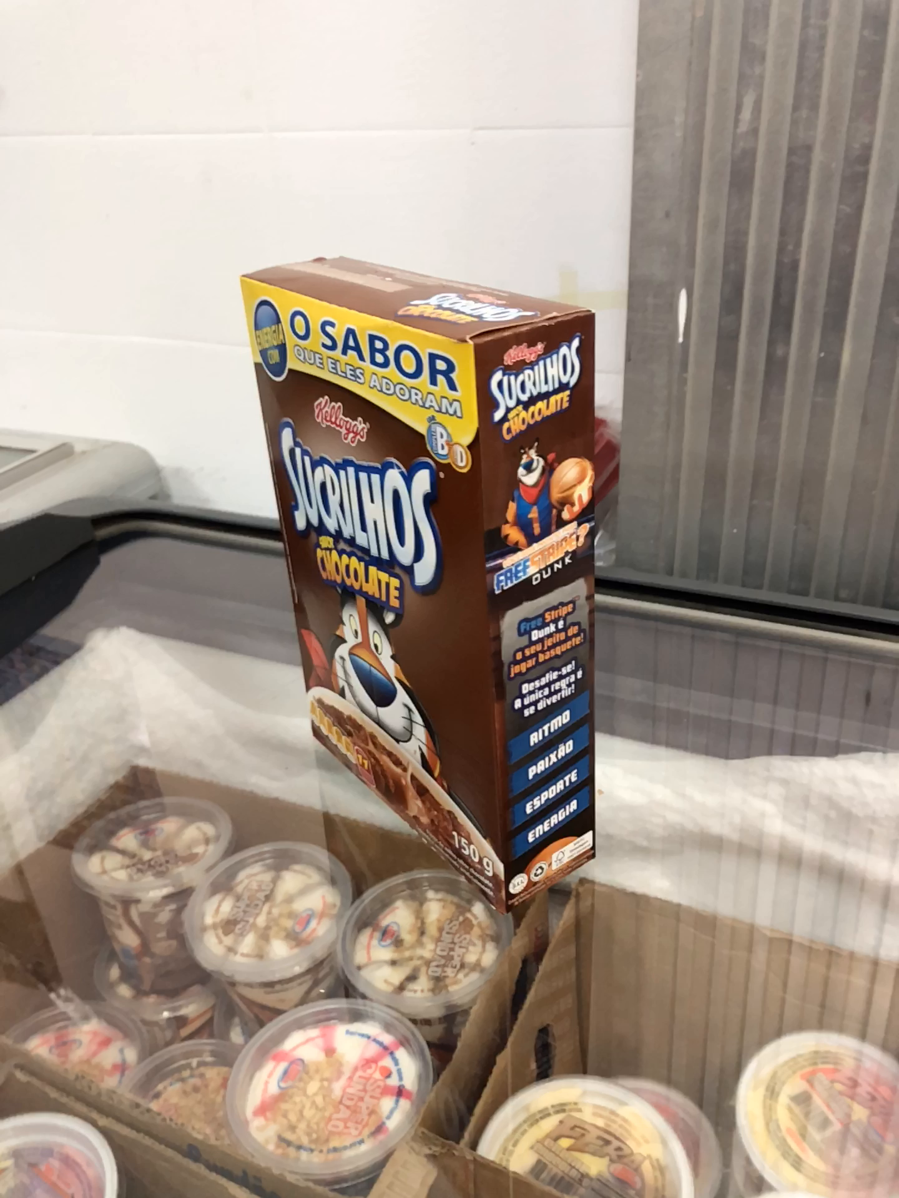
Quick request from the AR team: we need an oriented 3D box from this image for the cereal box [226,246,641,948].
[{"bbox_3d":[-0.007,-0.007,0.360,0.050,0.208,0.151,-23,34,-31],"label":"cereal box"}]
